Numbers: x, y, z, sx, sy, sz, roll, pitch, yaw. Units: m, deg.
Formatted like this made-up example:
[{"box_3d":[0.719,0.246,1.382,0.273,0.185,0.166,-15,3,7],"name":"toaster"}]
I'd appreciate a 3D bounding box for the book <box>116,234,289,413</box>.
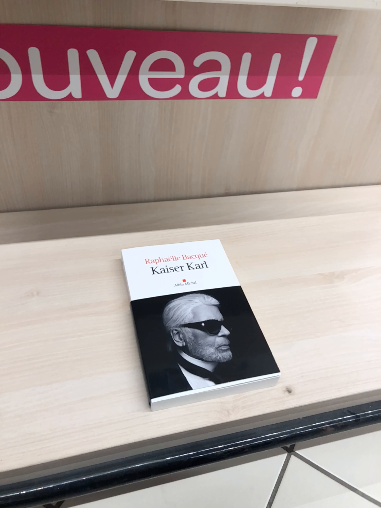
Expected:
[{"box_3d":[0.002,0.066,0.509,0.150,0.030,0.221,-5,46,-17],"name":"book"}]
